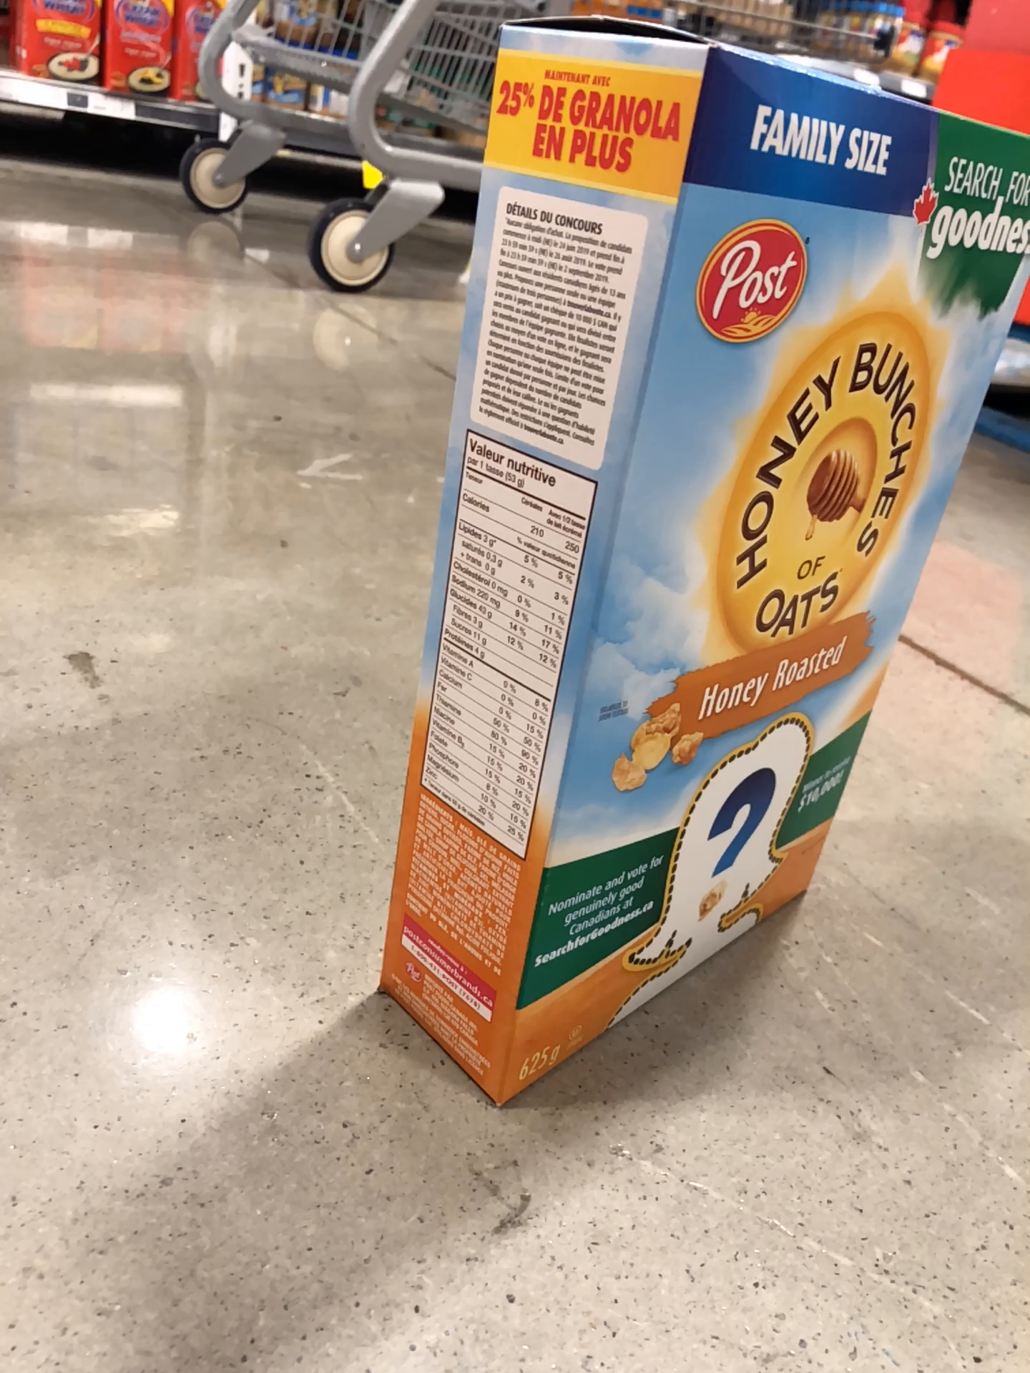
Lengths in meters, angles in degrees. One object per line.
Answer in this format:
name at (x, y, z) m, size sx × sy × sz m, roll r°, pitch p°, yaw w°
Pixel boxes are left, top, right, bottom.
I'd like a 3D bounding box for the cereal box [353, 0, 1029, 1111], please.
cereal box at (0.067, -0.041, 0.385) m, size 0.070 × 0.309 × 0.211 m, roll 30°, pitch 32°, yaw 33°
